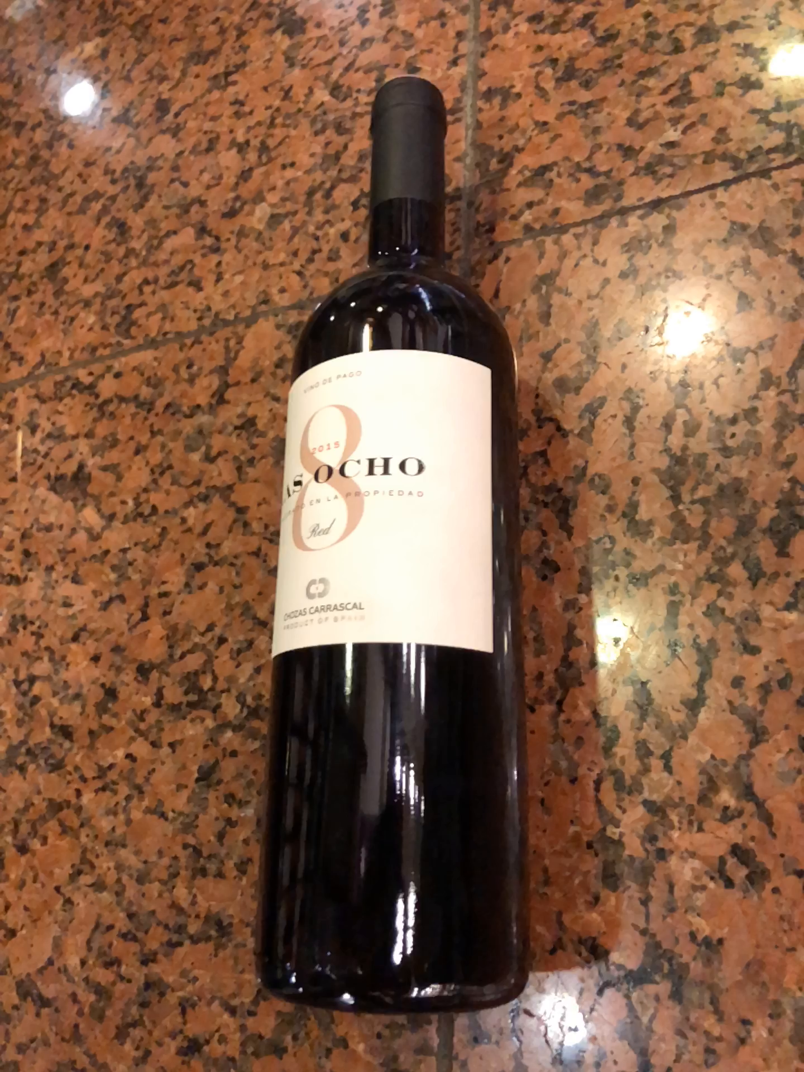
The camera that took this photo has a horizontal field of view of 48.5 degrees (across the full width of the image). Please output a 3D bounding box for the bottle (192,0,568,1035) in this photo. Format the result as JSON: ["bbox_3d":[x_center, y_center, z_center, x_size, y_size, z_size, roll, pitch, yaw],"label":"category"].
[{"bbox_3d":[-0.003,-0.035,0.300,0.080,0.070,0.340,-9,70,27],"label":"bottle"}]
